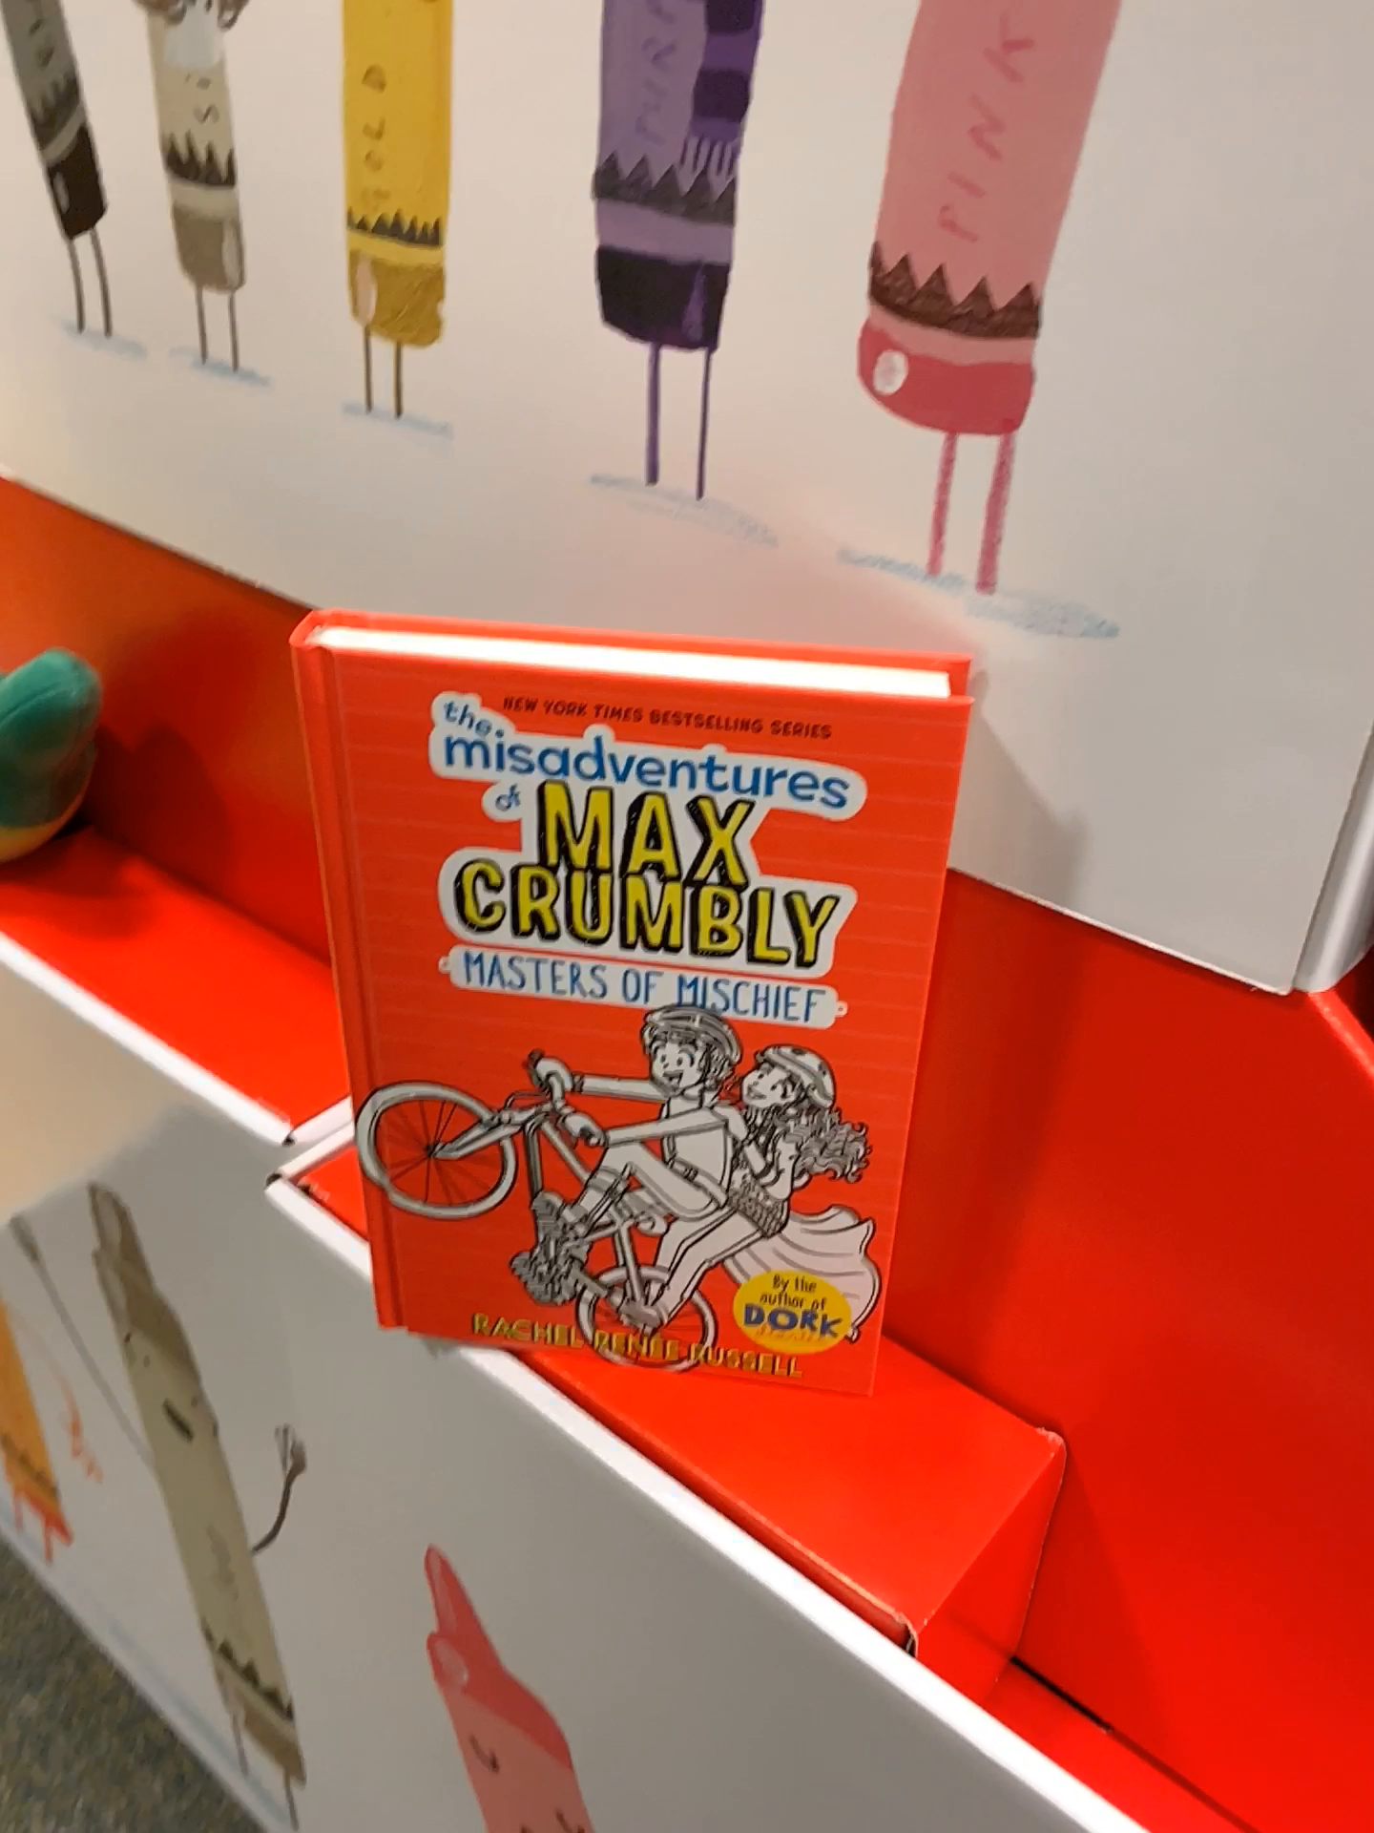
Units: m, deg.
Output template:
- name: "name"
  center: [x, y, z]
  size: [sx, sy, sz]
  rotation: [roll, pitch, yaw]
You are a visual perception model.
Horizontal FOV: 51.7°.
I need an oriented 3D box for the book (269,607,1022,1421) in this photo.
- name: "book"
  center: [-0.012, 0.034, 0.334]
  size: [0.142, 0.201, 0.031]
  rotation: [5, 33, 3]
